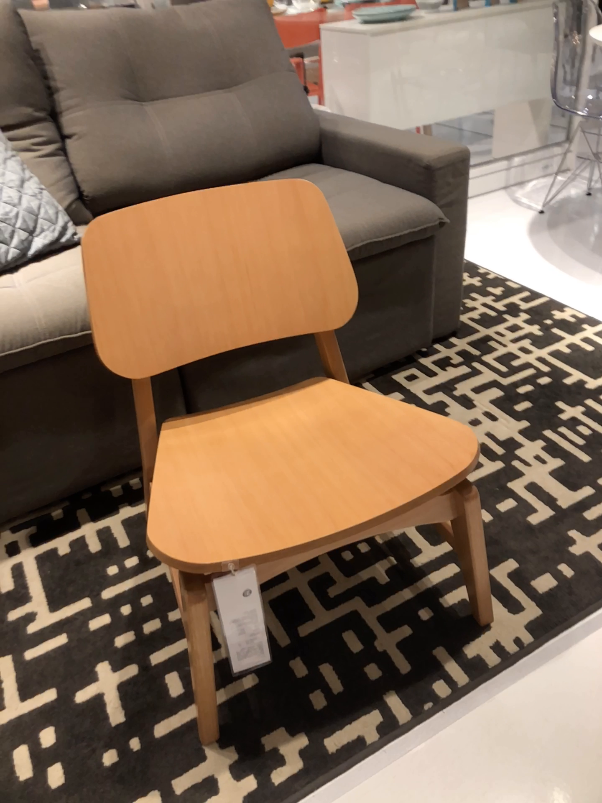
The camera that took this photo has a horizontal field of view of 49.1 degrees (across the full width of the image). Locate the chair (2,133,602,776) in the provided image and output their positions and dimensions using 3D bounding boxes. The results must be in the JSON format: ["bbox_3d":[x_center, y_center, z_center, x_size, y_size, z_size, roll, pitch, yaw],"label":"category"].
[{"bbox_3d":[-0.037,0.001,1.074,0.641,0.625,0.654,-17,35,-17],"label":"chair"}]
